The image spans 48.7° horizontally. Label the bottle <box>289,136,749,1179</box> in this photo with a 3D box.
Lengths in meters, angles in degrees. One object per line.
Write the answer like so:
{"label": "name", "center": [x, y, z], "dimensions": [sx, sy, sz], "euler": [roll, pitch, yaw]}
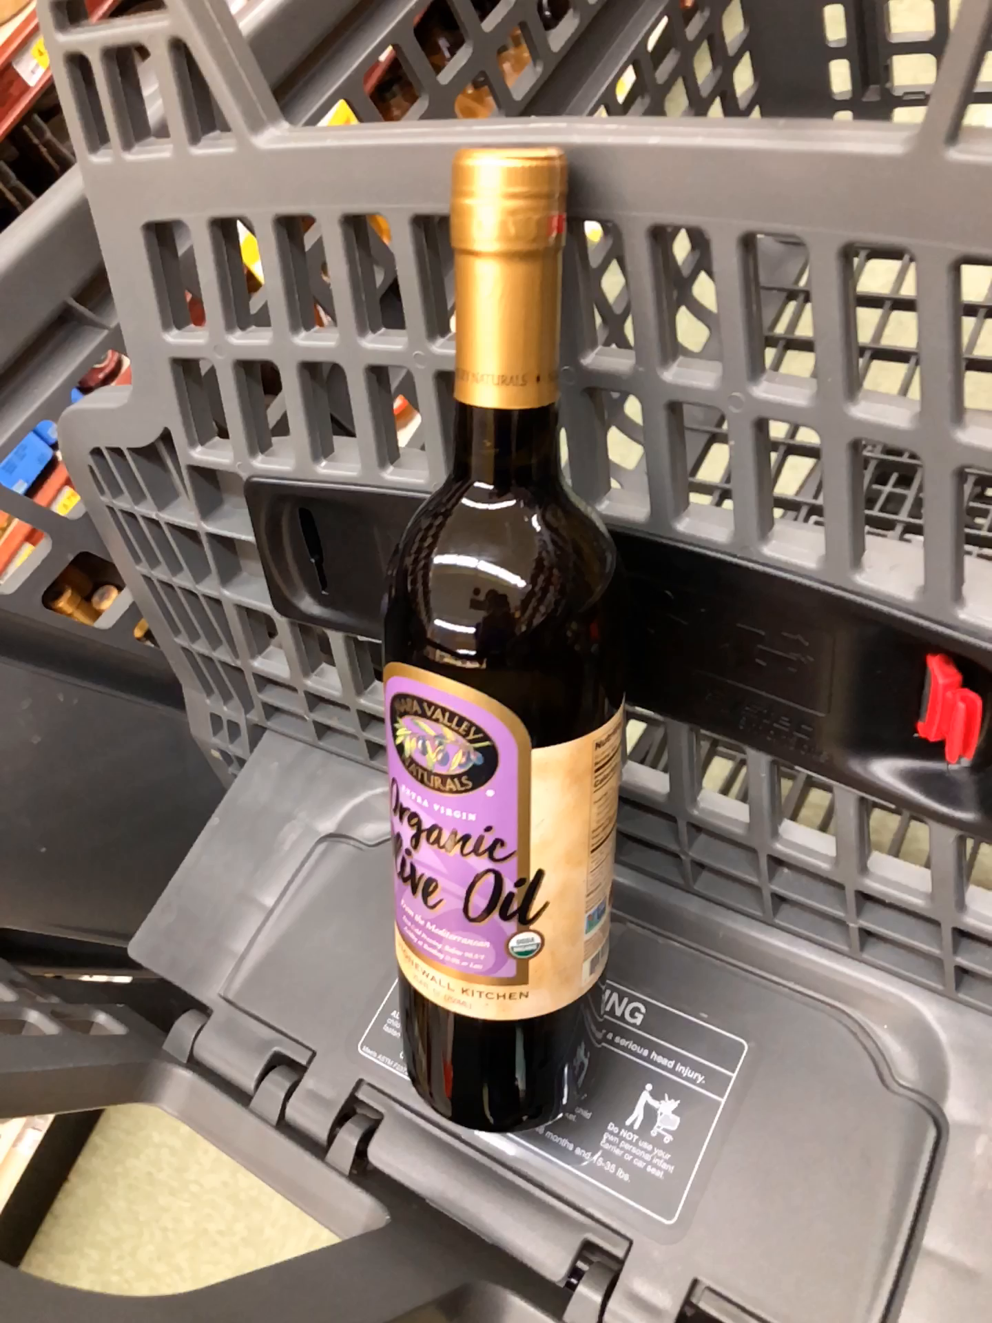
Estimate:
{"label": "bottle", "center": [0.006, 0.007, 0.335], "dimensions": [0.080, 0.300, 0.080], "euler": [0, 27, 0]}
